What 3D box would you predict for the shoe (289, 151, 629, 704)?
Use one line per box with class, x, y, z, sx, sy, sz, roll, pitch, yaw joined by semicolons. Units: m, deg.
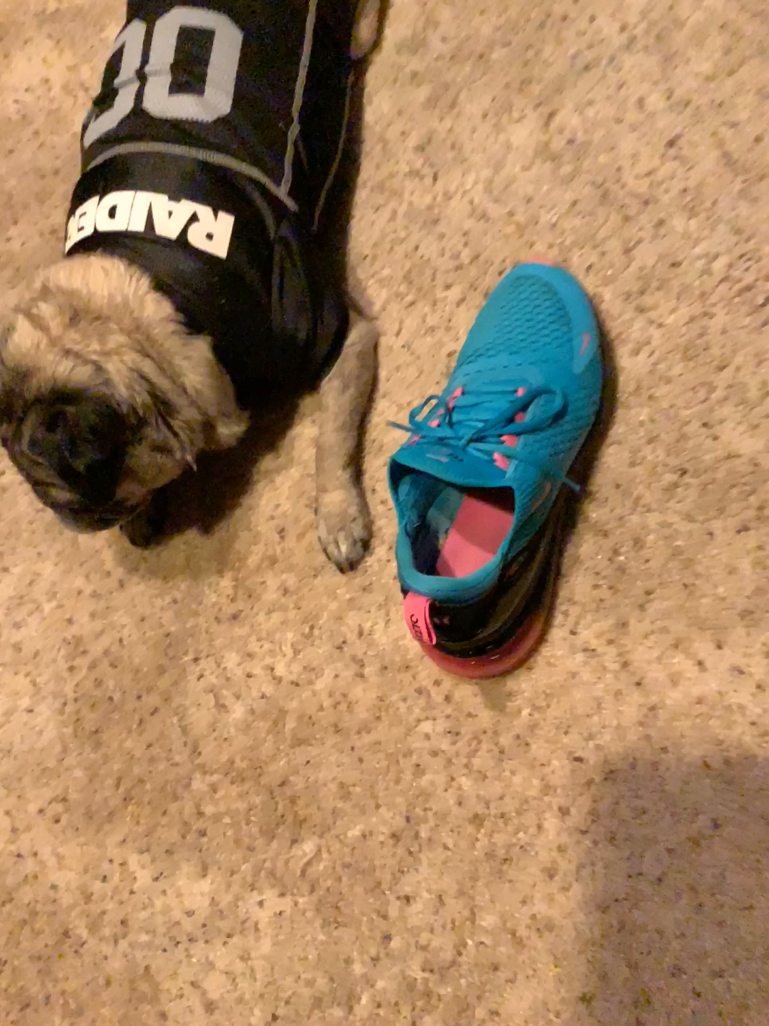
shoe;0.065;-0.056;0.596;0.130;0.140;0.340;9;78;24
